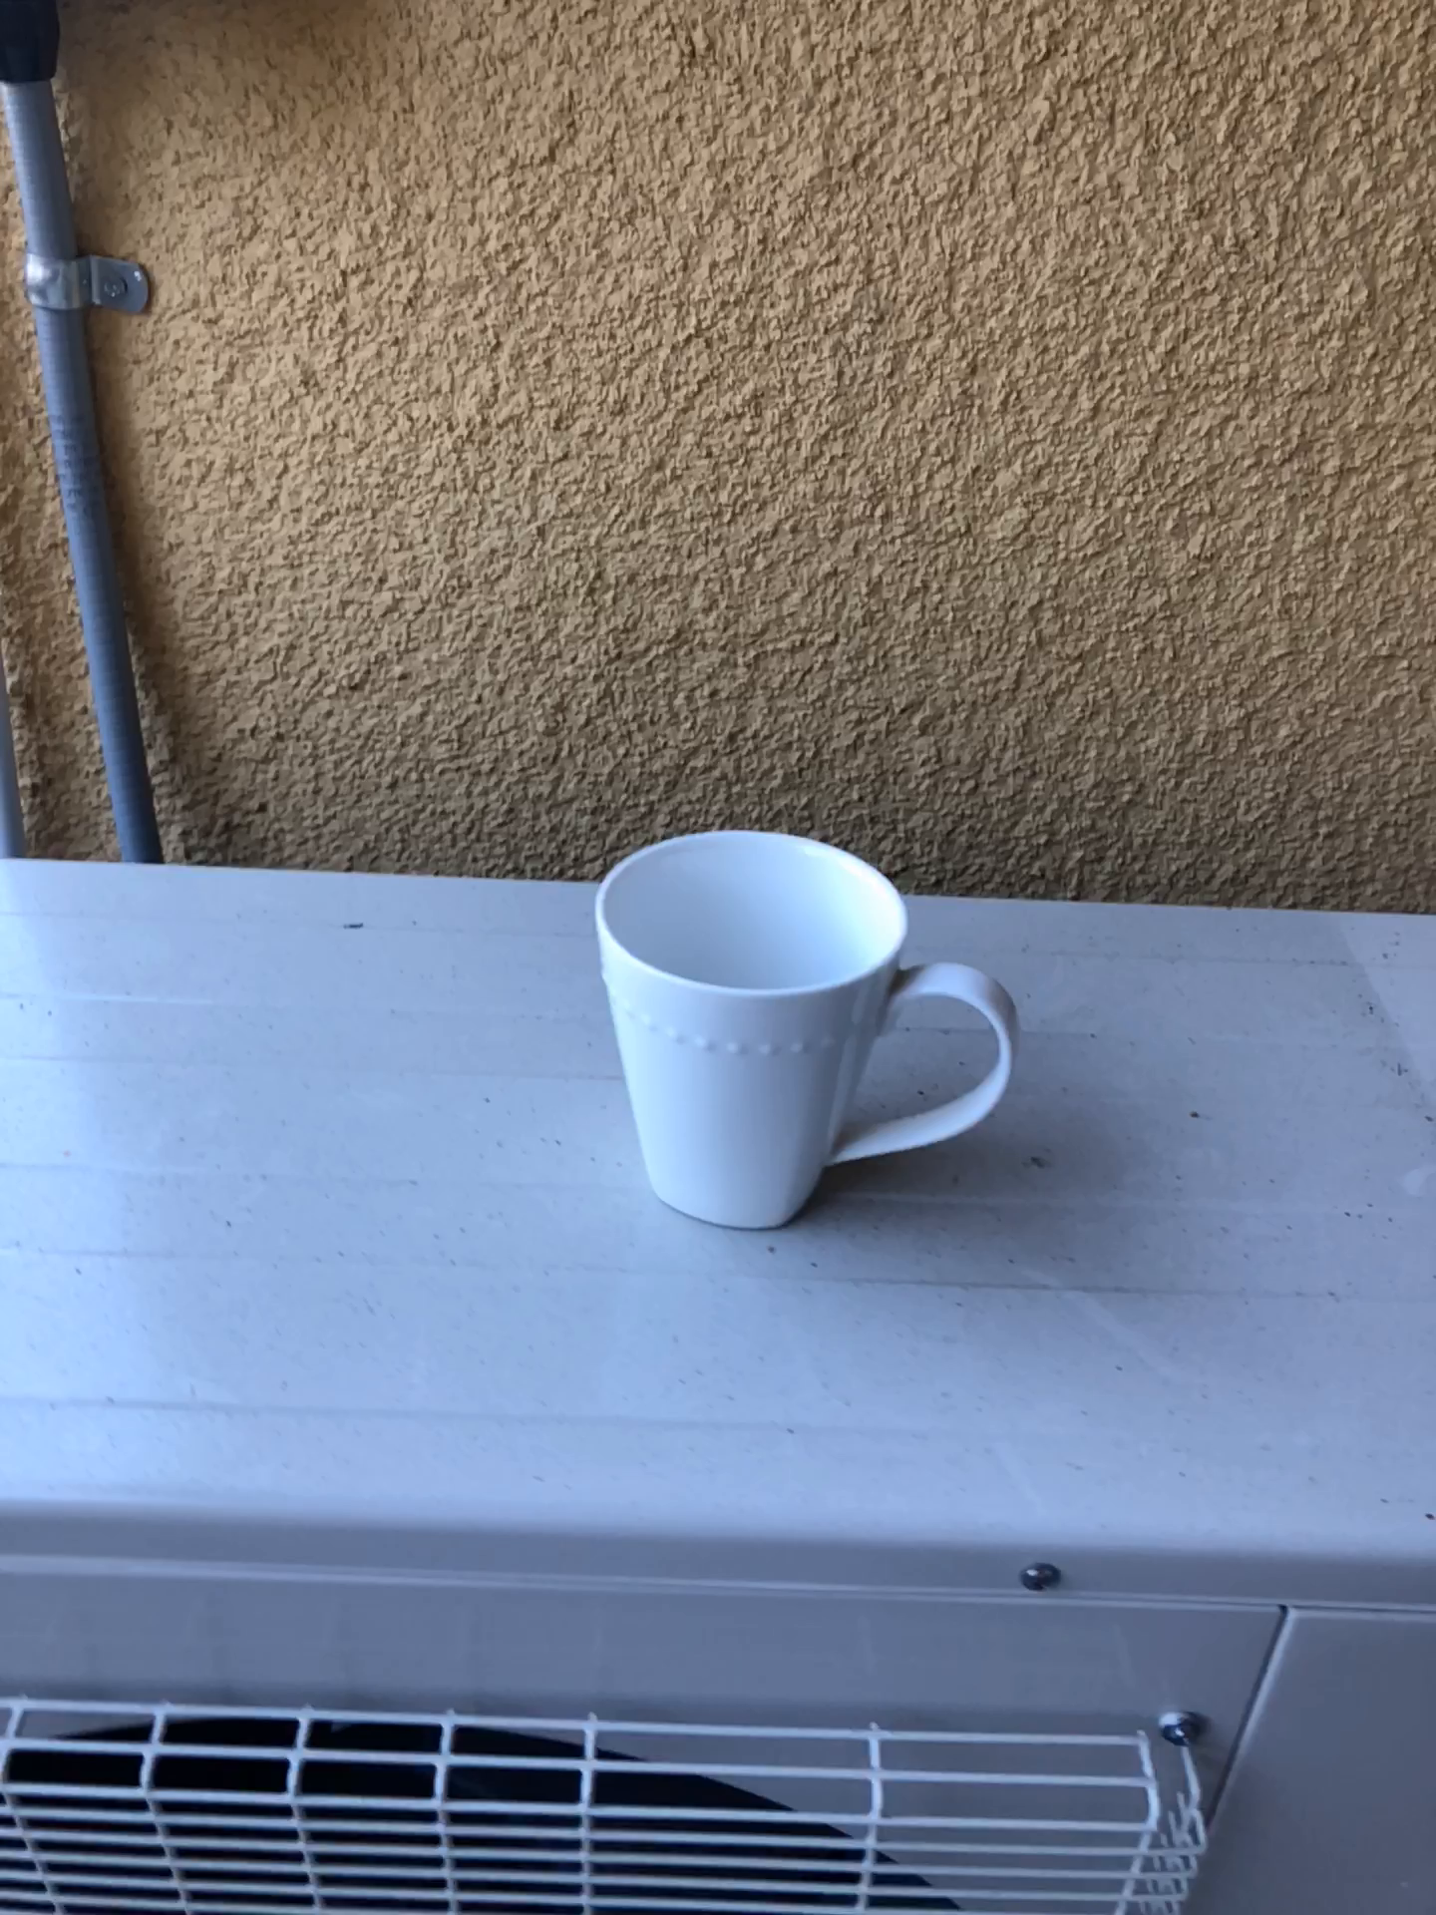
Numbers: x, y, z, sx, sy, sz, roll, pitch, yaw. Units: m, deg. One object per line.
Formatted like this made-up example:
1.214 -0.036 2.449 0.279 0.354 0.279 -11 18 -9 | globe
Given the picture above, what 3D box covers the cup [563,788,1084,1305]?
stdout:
0.034 0.024 0.497 0.140 0.099 0.100 9 33 8 | cup
